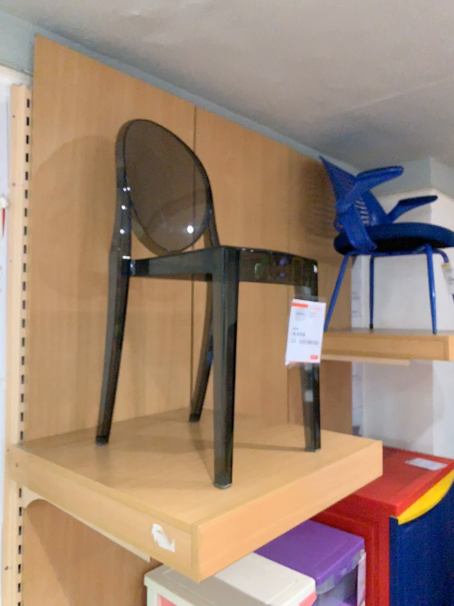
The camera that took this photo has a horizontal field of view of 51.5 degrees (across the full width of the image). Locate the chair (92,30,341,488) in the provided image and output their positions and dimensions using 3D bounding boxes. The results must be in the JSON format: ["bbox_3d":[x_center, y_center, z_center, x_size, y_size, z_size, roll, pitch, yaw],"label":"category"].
[{"bbox_3d":[-0.027,-0.082,1.179,0.470,0.850,0.400,-1,-2,41],"label":"chair"}]
